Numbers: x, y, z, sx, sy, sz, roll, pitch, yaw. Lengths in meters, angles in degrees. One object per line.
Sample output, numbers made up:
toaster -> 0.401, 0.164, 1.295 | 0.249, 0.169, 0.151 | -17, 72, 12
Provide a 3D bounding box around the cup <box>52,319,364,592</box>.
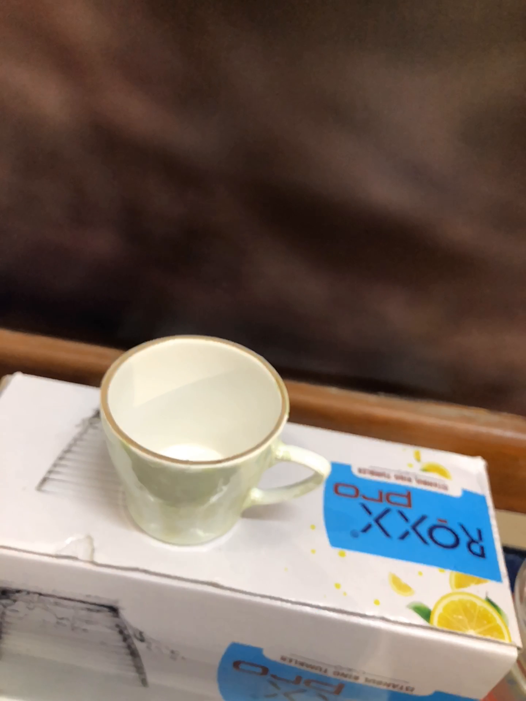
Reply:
cup -> -0.018, 0.040, 0.235 | 0.100, 0.060, 0.070 | 9, 40, -1
